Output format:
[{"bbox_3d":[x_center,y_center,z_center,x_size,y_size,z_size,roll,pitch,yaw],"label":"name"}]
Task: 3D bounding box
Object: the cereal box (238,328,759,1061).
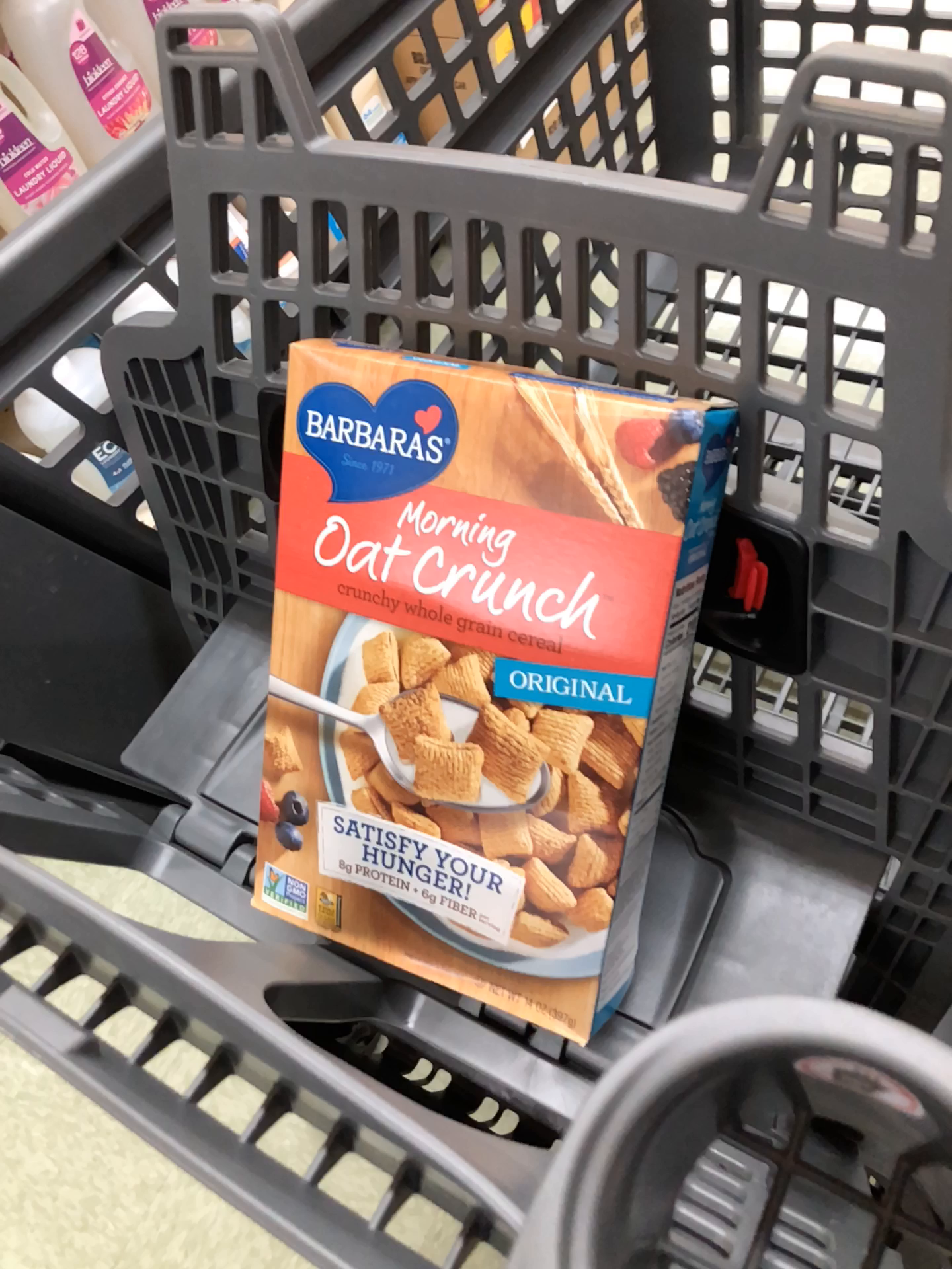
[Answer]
[{"bbox_3d":[-0.003,0.018,0.437,0.180,0.260,0.060,15,20,24],"label":"cereal box"}]
